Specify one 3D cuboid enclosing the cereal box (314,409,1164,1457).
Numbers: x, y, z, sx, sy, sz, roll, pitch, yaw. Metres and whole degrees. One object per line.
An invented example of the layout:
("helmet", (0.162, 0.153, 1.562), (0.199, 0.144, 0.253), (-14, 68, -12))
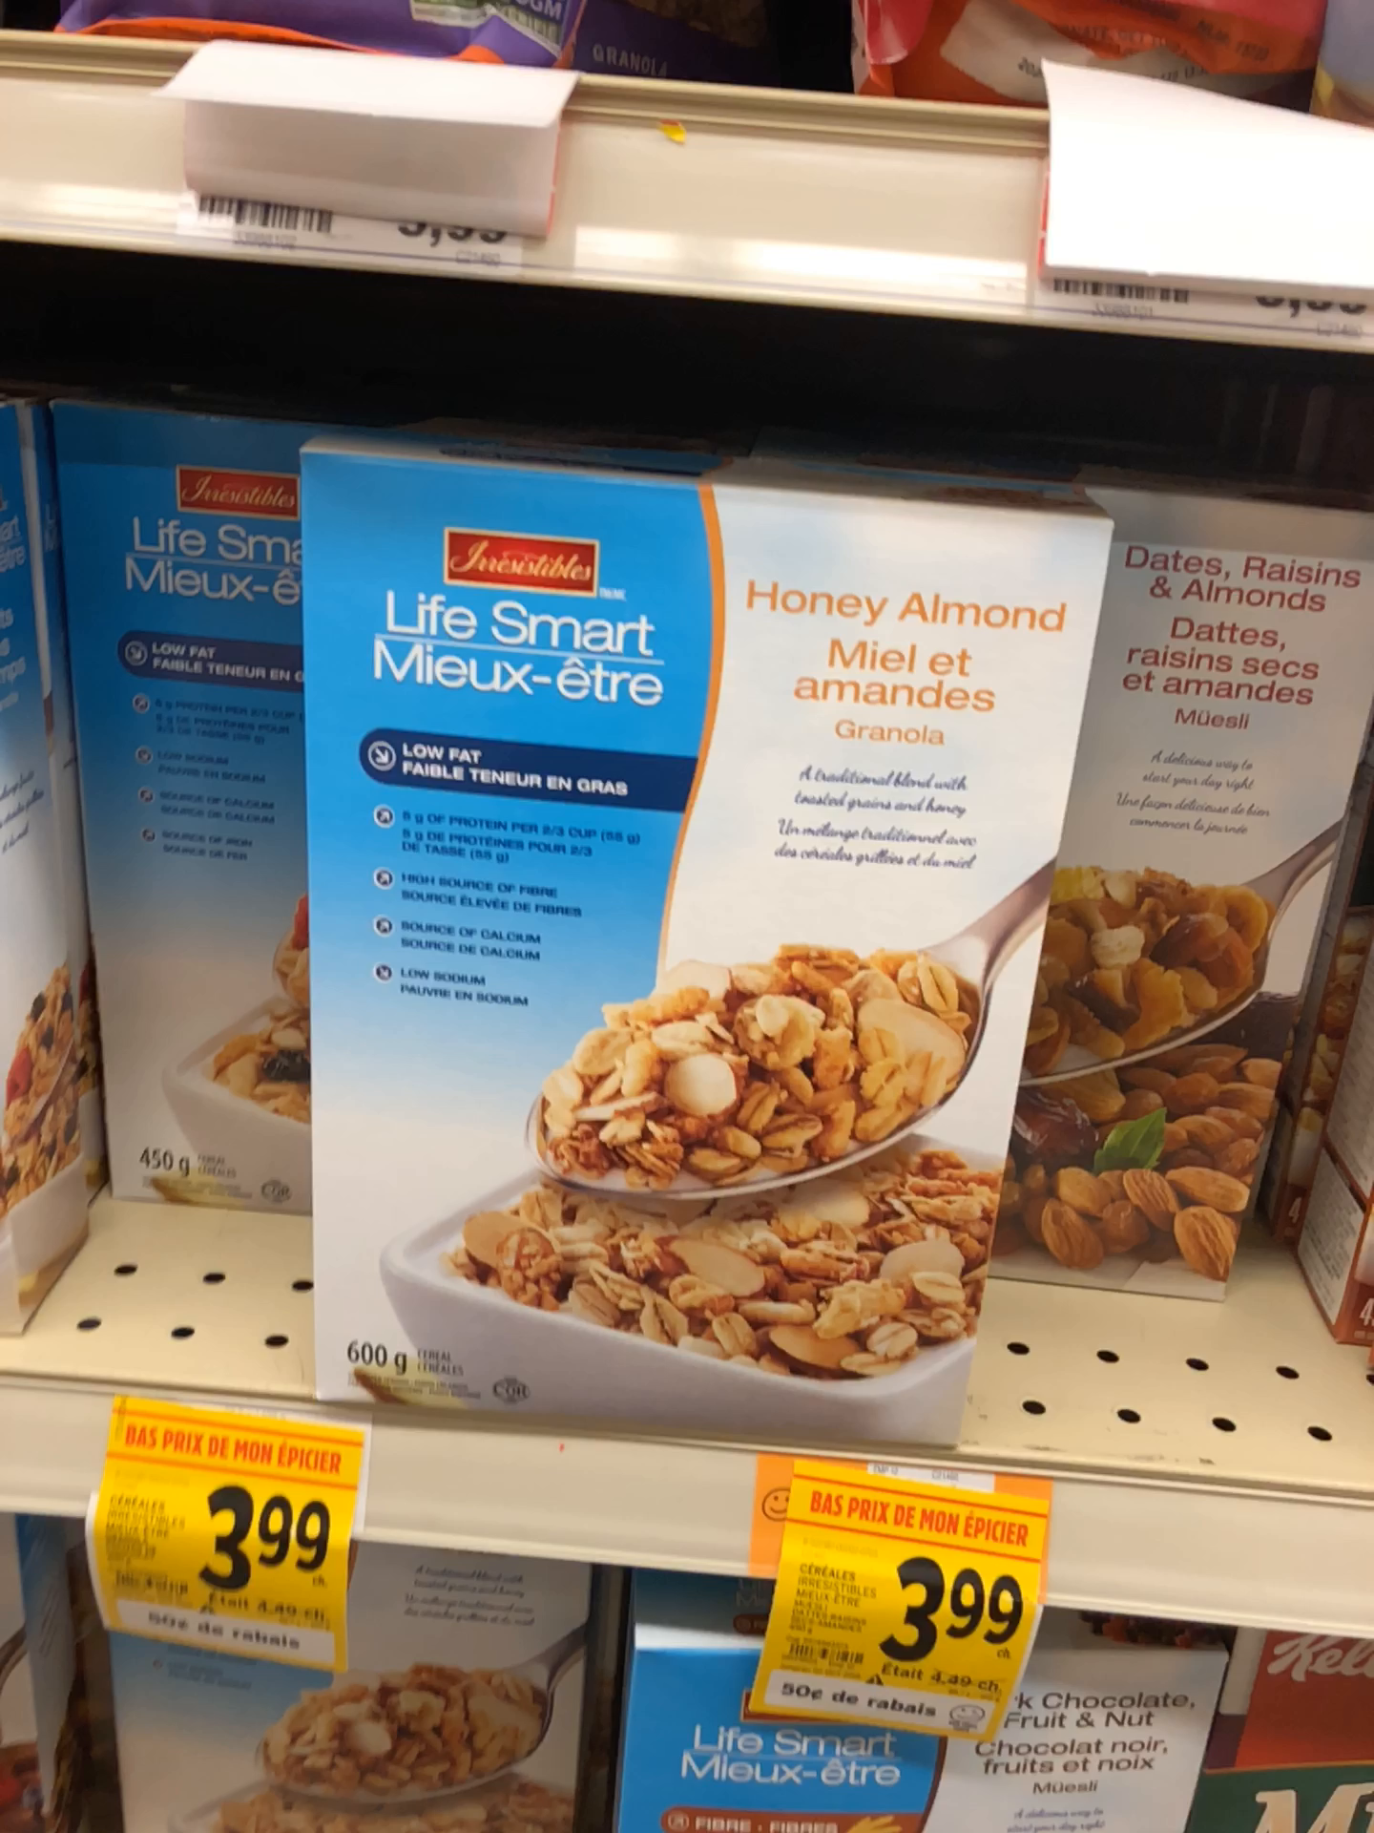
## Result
("cereal box", (0.002, 0.009, 0.374), (0.170, 0.238, 0.060), (5, 22, 1))
